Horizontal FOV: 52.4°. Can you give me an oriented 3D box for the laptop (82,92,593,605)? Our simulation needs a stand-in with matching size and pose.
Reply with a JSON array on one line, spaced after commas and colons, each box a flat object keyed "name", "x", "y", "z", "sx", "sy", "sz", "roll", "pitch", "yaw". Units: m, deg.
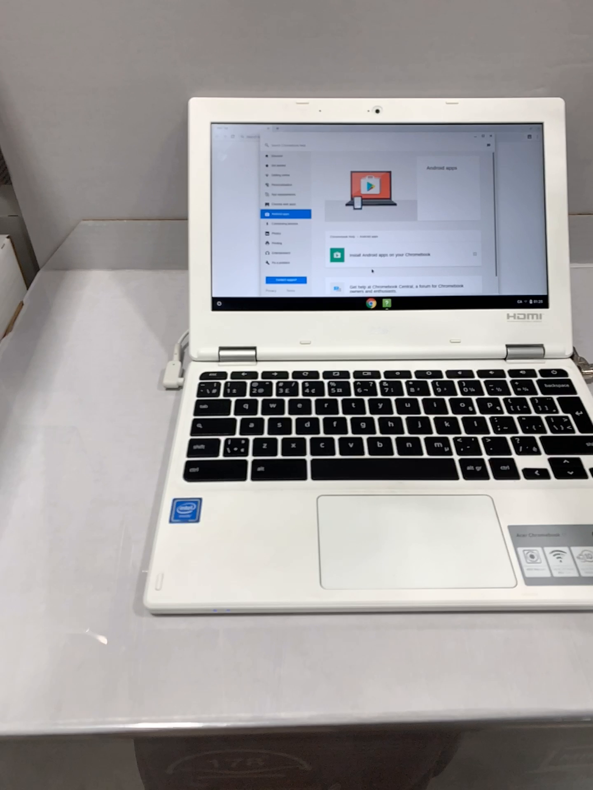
[{"name": "laptop", "x": 0.062, "y": -0.058, "z": 0.378, "sx": 0.282, "sy": 0.132, "sz": 0.330, "roll": 0, "pitch": 46, "yaw": -1}]
